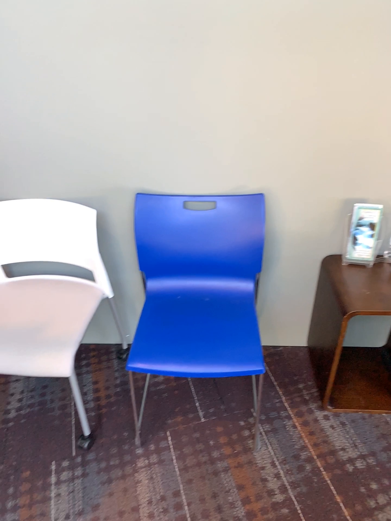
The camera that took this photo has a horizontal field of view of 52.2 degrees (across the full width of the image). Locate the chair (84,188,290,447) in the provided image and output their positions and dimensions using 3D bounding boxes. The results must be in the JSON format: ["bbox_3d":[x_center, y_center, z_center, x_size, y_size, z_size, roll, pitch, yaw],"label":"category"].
[{"bbox_3d":[-0.002,0.190,1.595,0.590,0.796,0.623,1,27,4],"label":"chair"}]

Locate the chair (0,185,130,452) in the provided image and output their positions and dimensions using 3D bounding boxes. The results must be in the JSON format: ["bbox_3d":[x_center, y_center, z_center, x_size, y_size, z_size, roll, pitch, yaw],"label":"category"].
[{"bbox_3d":[-0.563,0.205,1.508,0.590,0.796,0.563,0,31,-7],"label":"chair"}]
